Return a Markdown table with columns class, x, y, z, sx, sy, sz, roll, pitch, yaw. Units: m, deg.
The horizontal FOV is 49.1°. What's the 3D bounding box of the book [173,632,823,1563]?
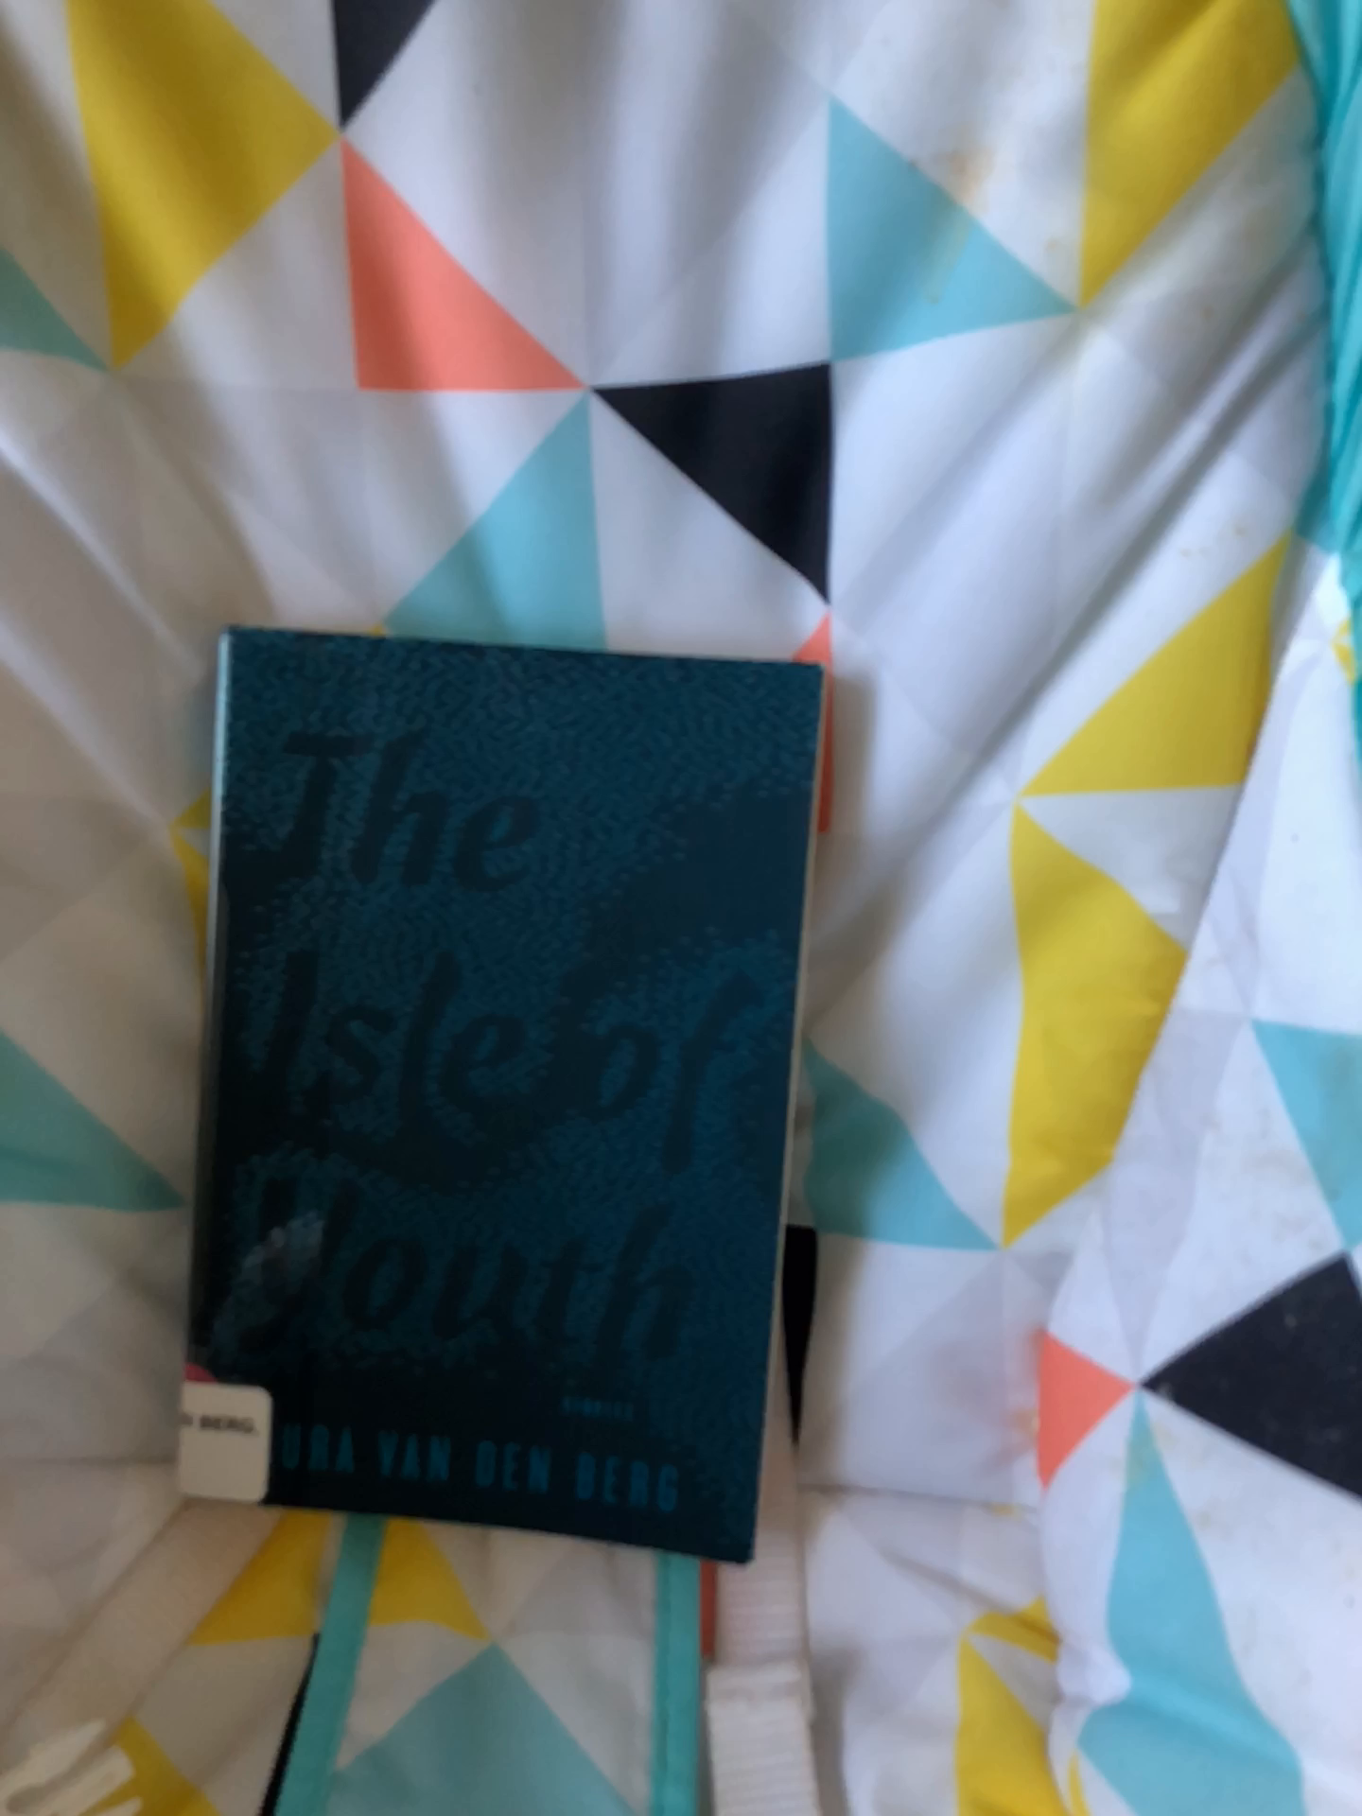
| class | x | y | z | sx | sy | sz | roll | pitch | yaw |
| --- | --- | --- | --- | --- | --- | --- | --- | --- | --- |
| book | -0.038 | 0.037 | 0.314 | 0.124 | 0.032 | 0.180 | 4 | 95 | 5 |
